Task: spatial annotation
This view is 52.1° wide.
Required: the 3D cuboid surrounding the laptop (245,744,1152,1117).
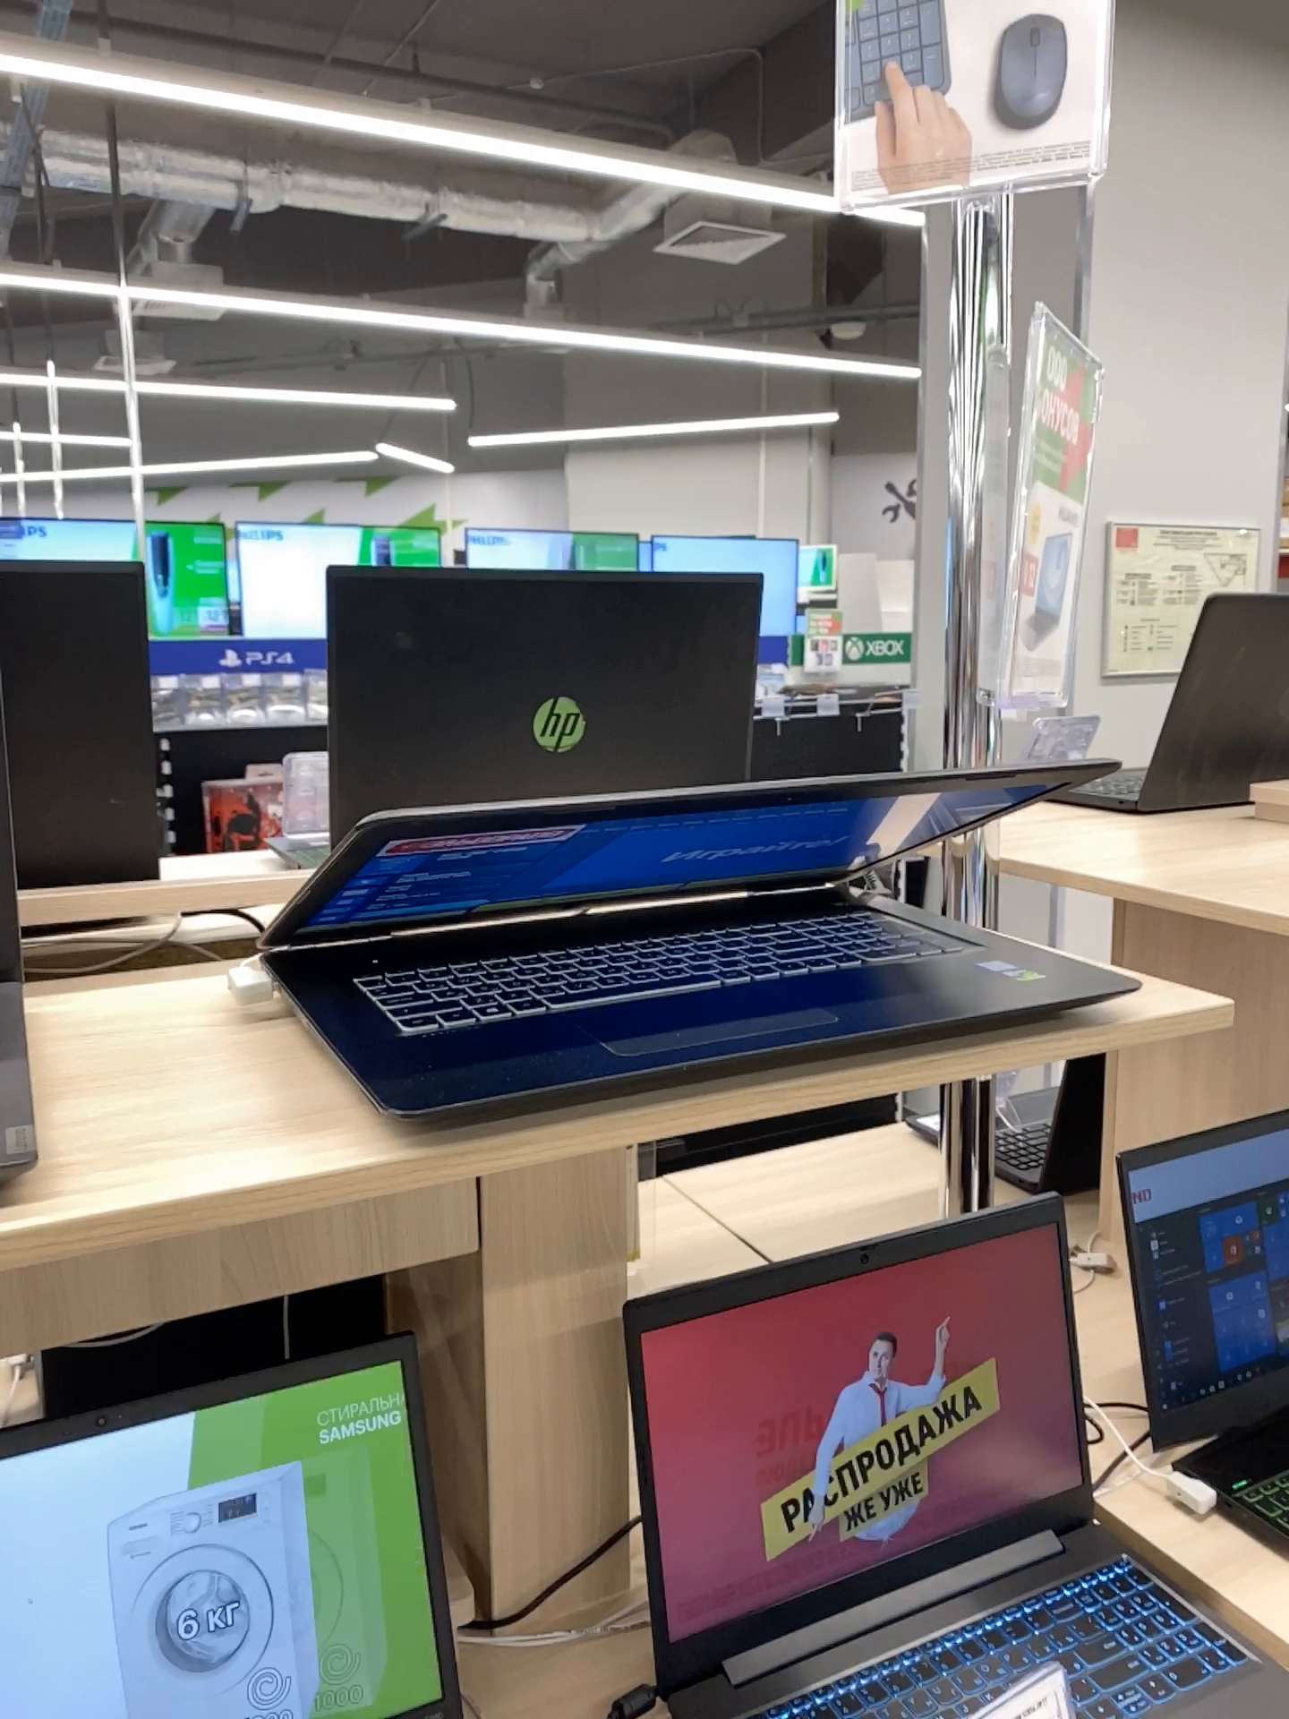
[{"bbox_3d":[0.018,0.011,0.705,0.396,0.103,0.264,-5,12,-26],"label":"laptop"}]
